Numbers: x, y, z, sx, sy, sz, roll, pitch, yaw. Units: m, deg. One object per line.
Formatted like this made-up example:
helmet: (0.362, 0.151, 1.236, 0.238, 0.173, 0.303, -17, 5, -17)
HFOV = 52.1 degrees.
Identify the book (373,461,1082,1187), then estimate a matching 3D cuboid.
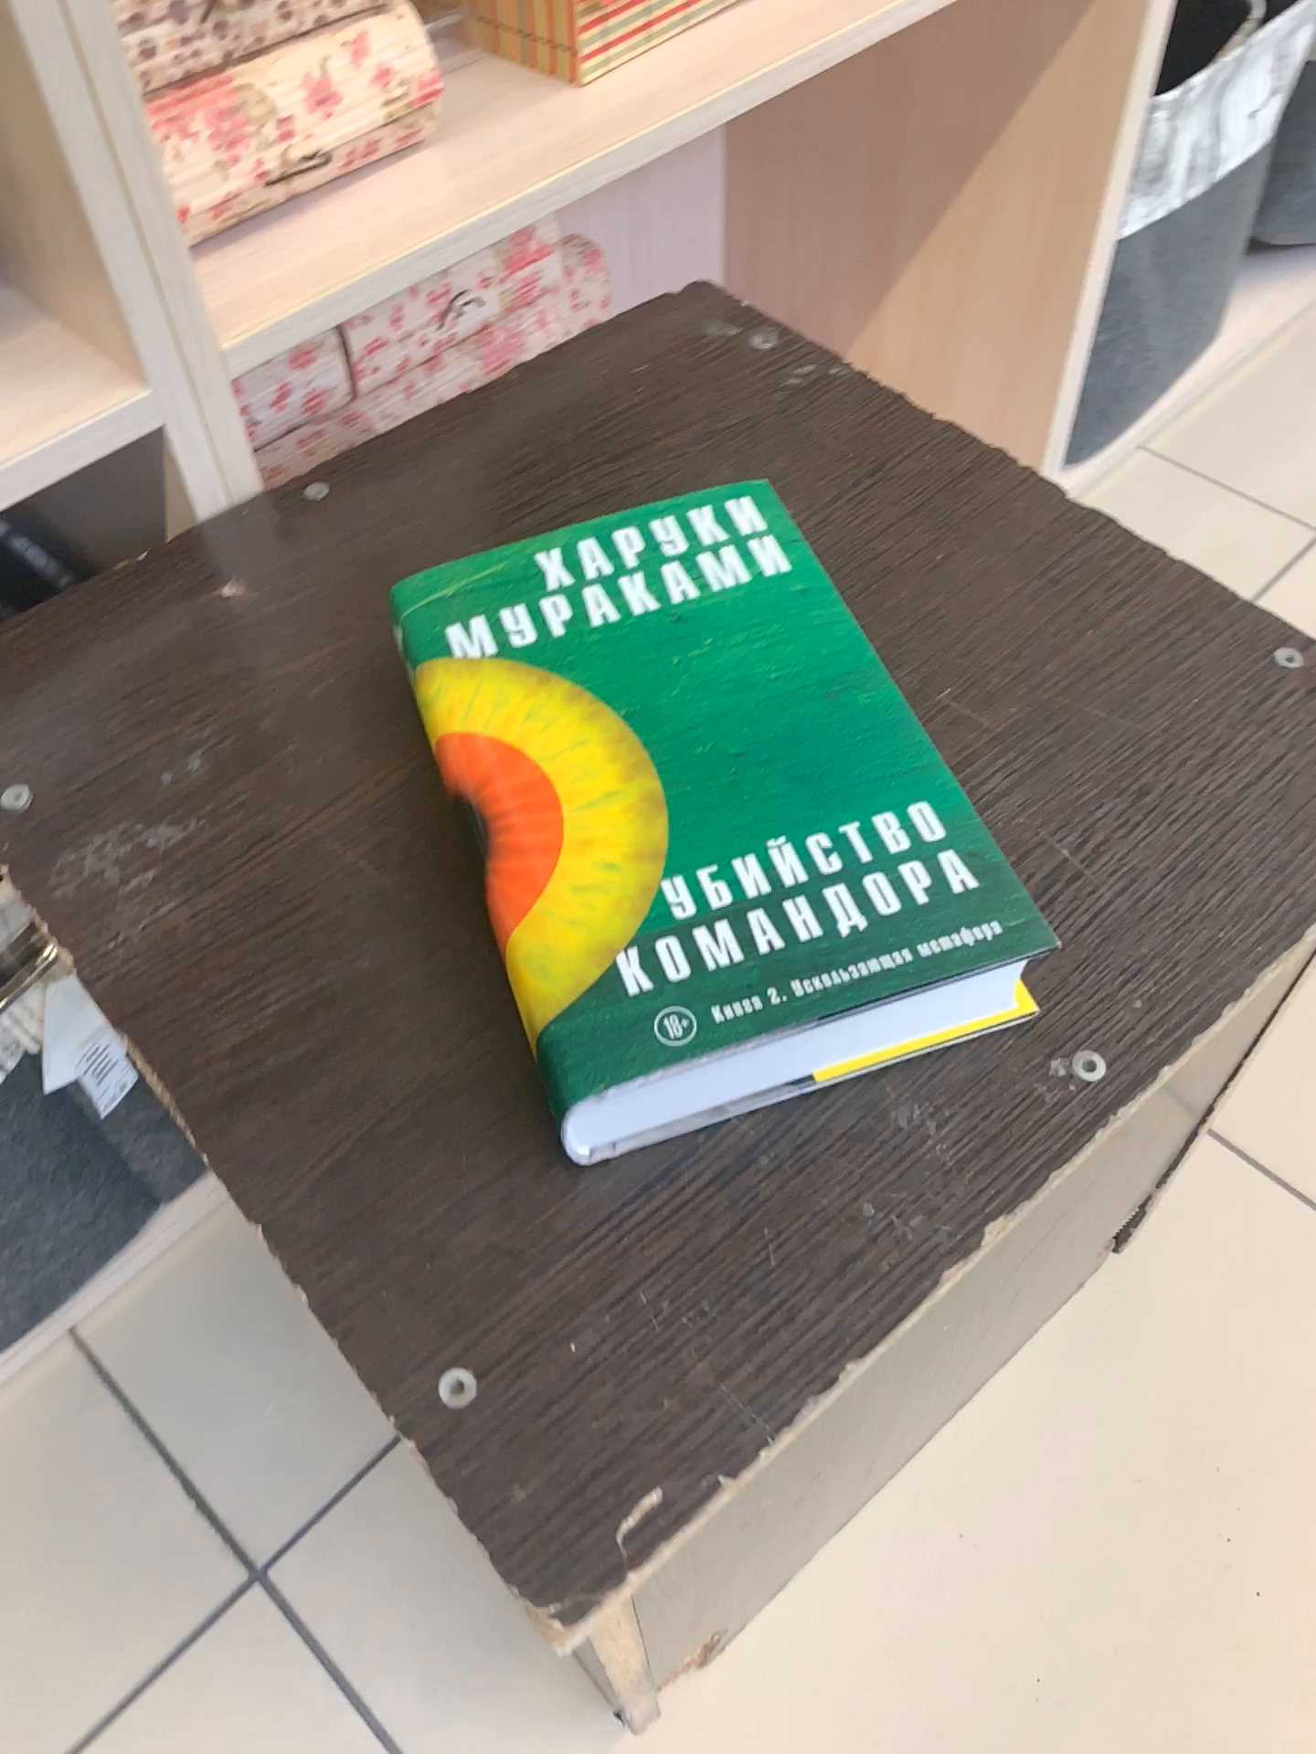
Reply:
book: (0.010, -0.031, 0.434, 0.150, 0.050, 0.217, -16, 57, -10)
